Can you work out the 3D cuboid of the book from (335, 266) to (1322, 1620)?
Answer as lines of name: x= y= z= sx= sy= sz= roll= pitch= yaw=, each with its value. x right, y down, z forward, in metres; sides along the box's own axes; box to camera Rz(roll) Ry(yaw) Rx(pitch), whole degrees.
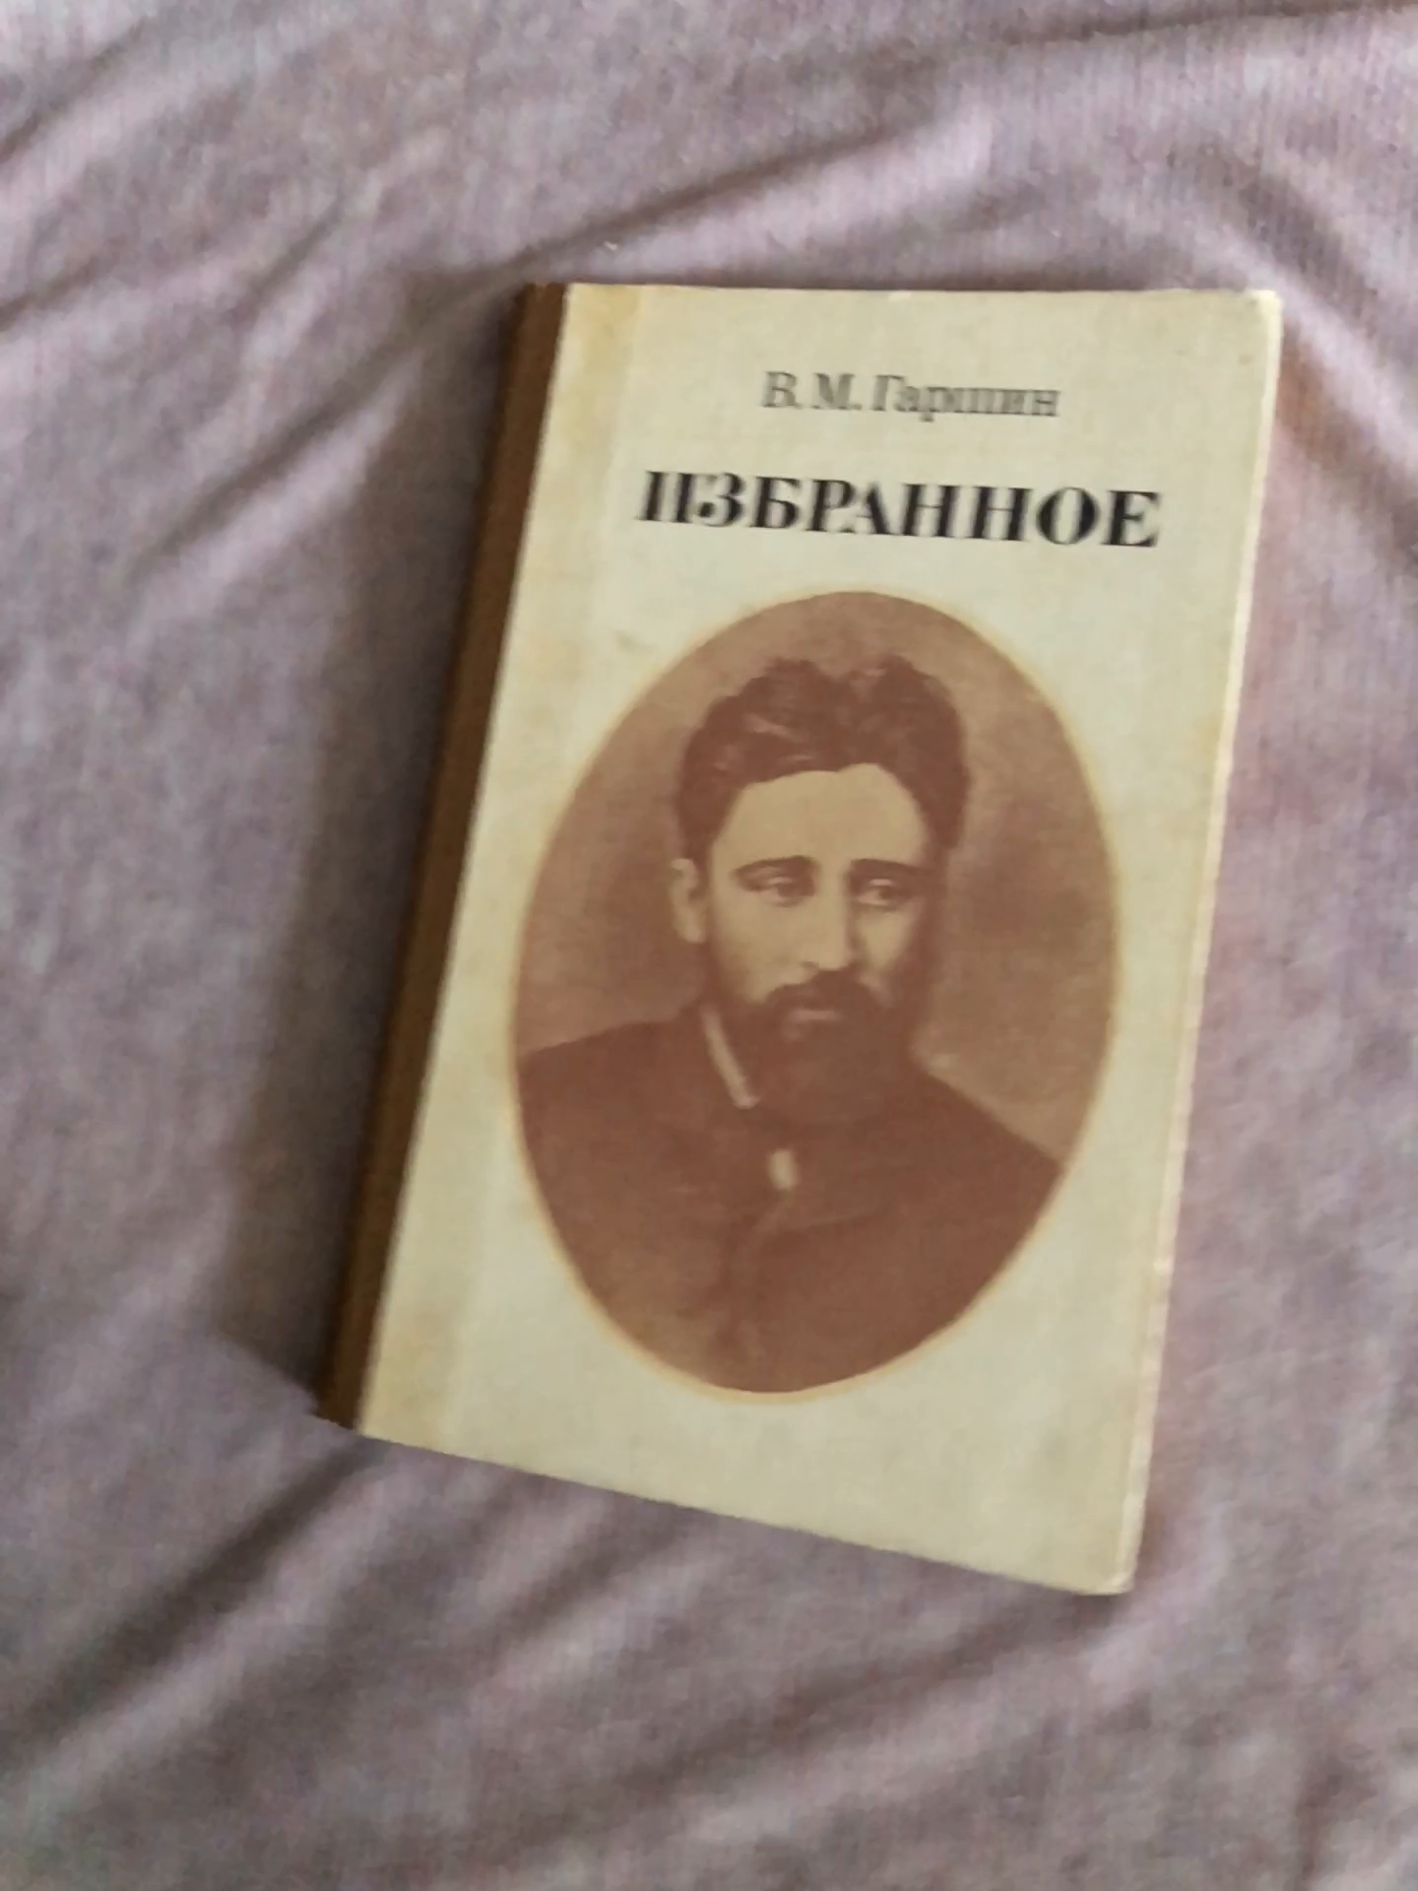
book: x=0.022 y=-0.012 z=0.286 sx=0.142 sy=0.030 sz=0.220 roll=7 pitch=83 yaw=16
